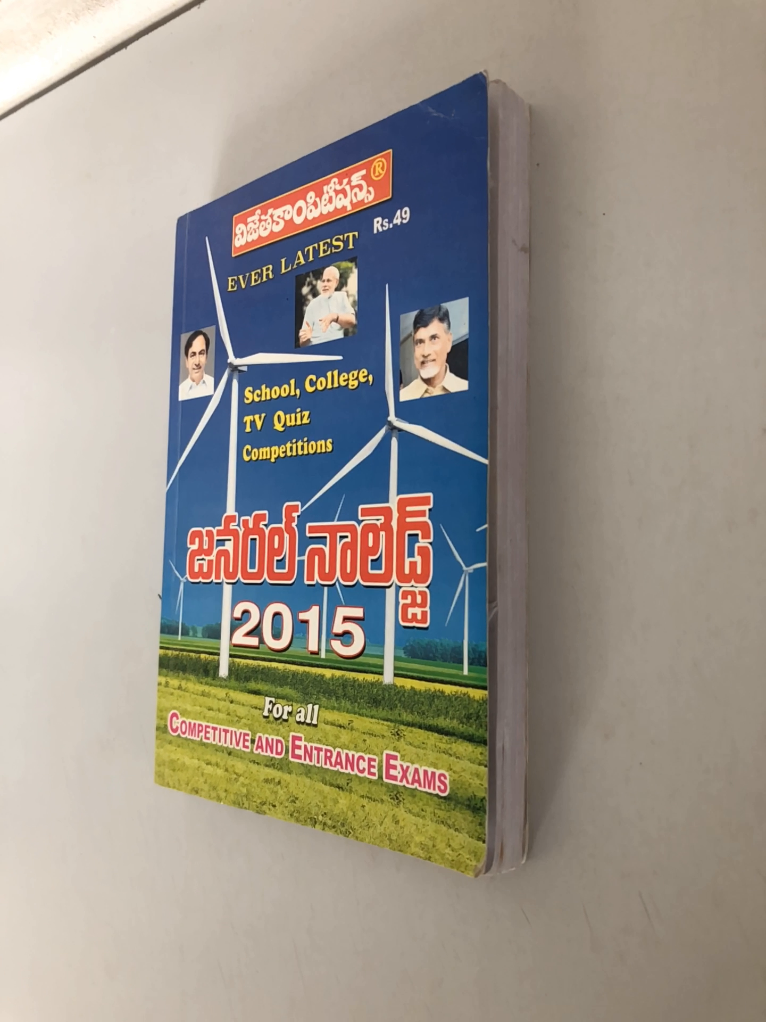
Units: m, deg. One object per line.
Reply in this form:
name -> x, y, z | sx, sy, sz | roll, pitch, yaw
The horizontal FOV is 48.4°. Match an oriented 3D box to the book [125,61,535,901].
book -> -0.021, -0.007, 0.234 | 0.129, 0.022, 0.182 | -4, 83, 41
